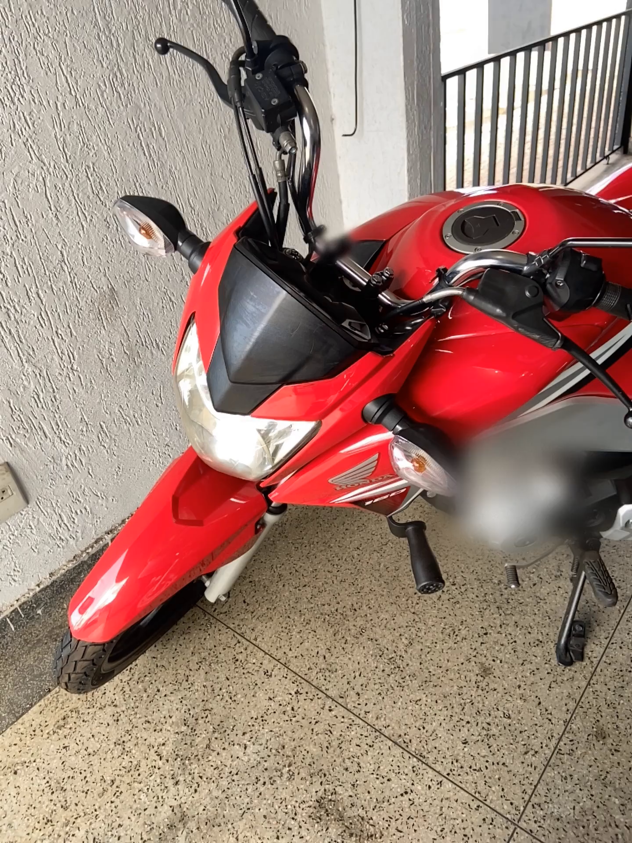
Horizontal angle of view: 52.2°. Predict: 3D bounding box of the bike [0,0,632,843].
[{"bbox_3d":[0.448,0.094,1.084,1.991,1.421,0.872,-16,34,-6],"label":"bike"}]
